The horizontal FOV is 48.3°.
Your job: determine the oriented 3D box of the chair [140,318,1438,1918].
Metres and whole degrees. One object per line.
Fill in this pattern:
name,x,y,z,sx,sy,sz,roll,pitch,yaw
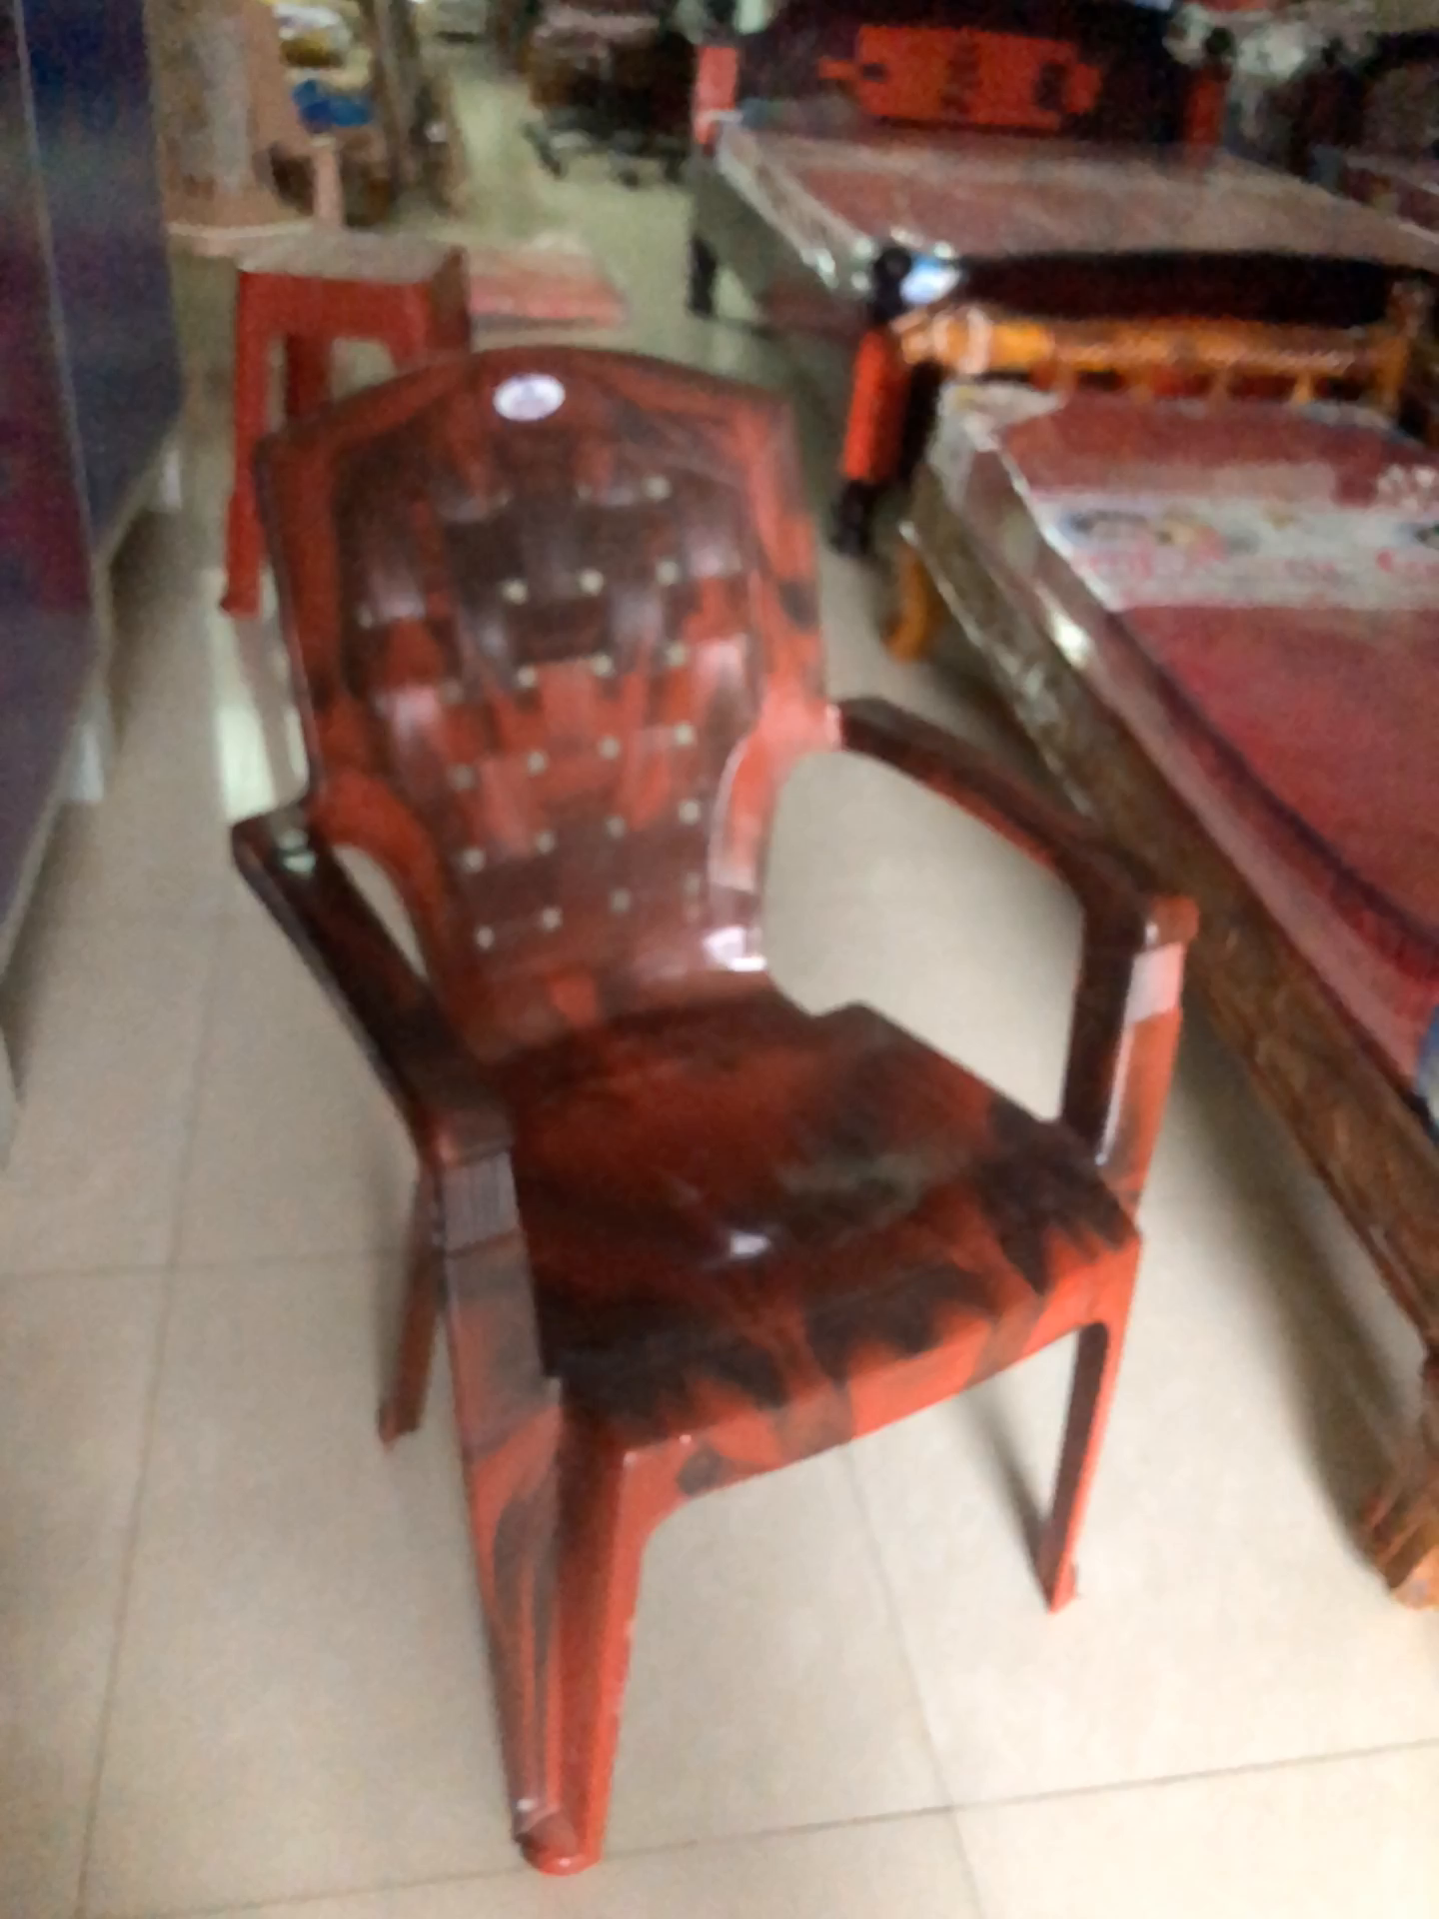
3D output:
chair,-0.017,0.081,1.139,0.532,0.865,0.561,-14,39,-26
